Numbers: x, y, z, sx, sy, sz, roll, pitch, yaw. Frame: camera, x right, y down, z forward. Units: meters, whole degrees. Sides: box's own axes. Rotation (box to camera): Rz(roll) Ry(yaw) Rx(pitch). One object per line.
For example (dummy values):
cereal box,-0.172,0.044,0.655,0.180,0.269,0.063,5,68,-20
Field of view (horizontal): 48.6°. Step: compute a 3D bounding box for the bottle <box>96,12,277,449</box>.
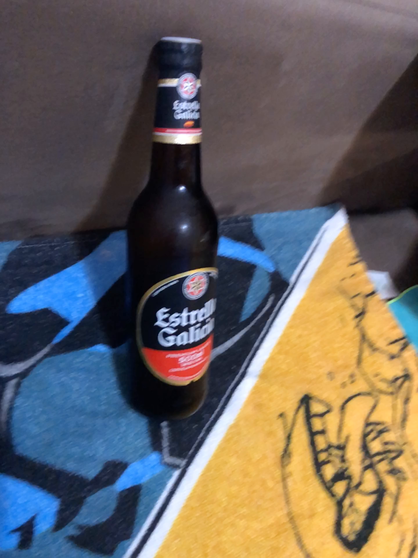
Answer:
bottle,-0.024,-0.026,0.328,0.080,0.269,0.080,3,21,-1
